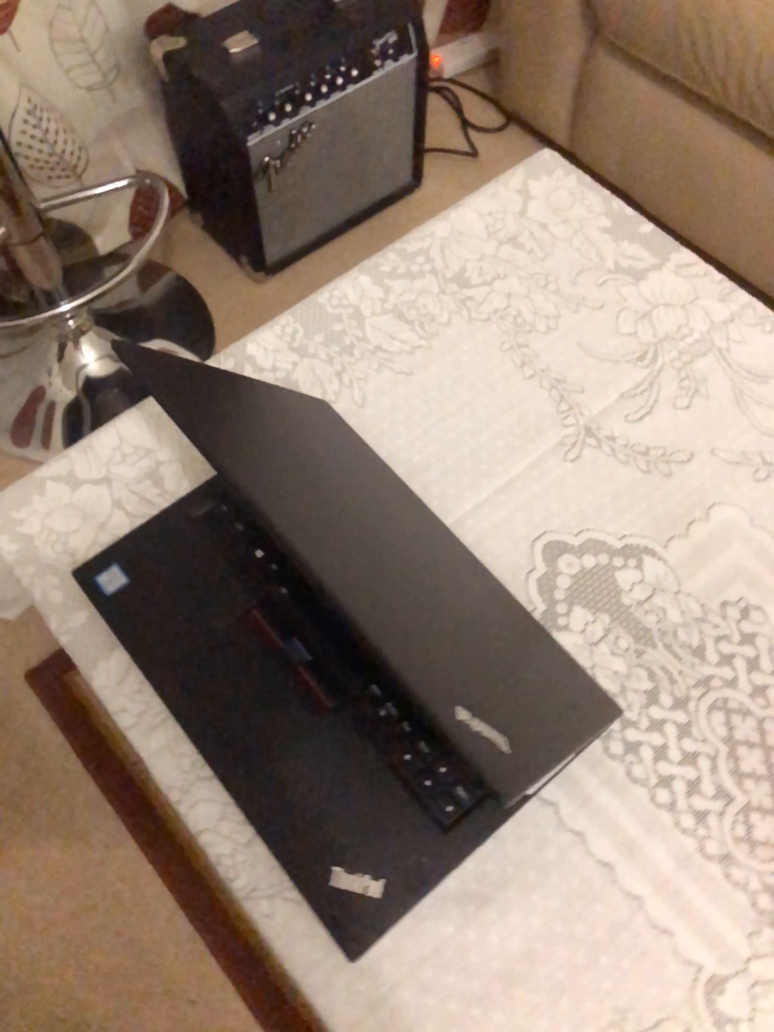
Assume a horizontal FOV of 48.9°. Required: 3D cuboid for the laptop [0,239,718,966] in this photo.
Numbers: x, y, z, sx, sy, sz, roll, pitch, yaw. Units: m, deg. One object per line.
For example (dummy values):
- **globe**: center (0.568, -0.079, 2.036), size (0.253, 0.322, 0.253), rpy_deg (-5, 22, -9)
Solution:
- **laptop**: center (-0.031, 0.043, 0.492), size (0.220, 0.174, 0.309), rpy_deg (-36, 67, -16)
